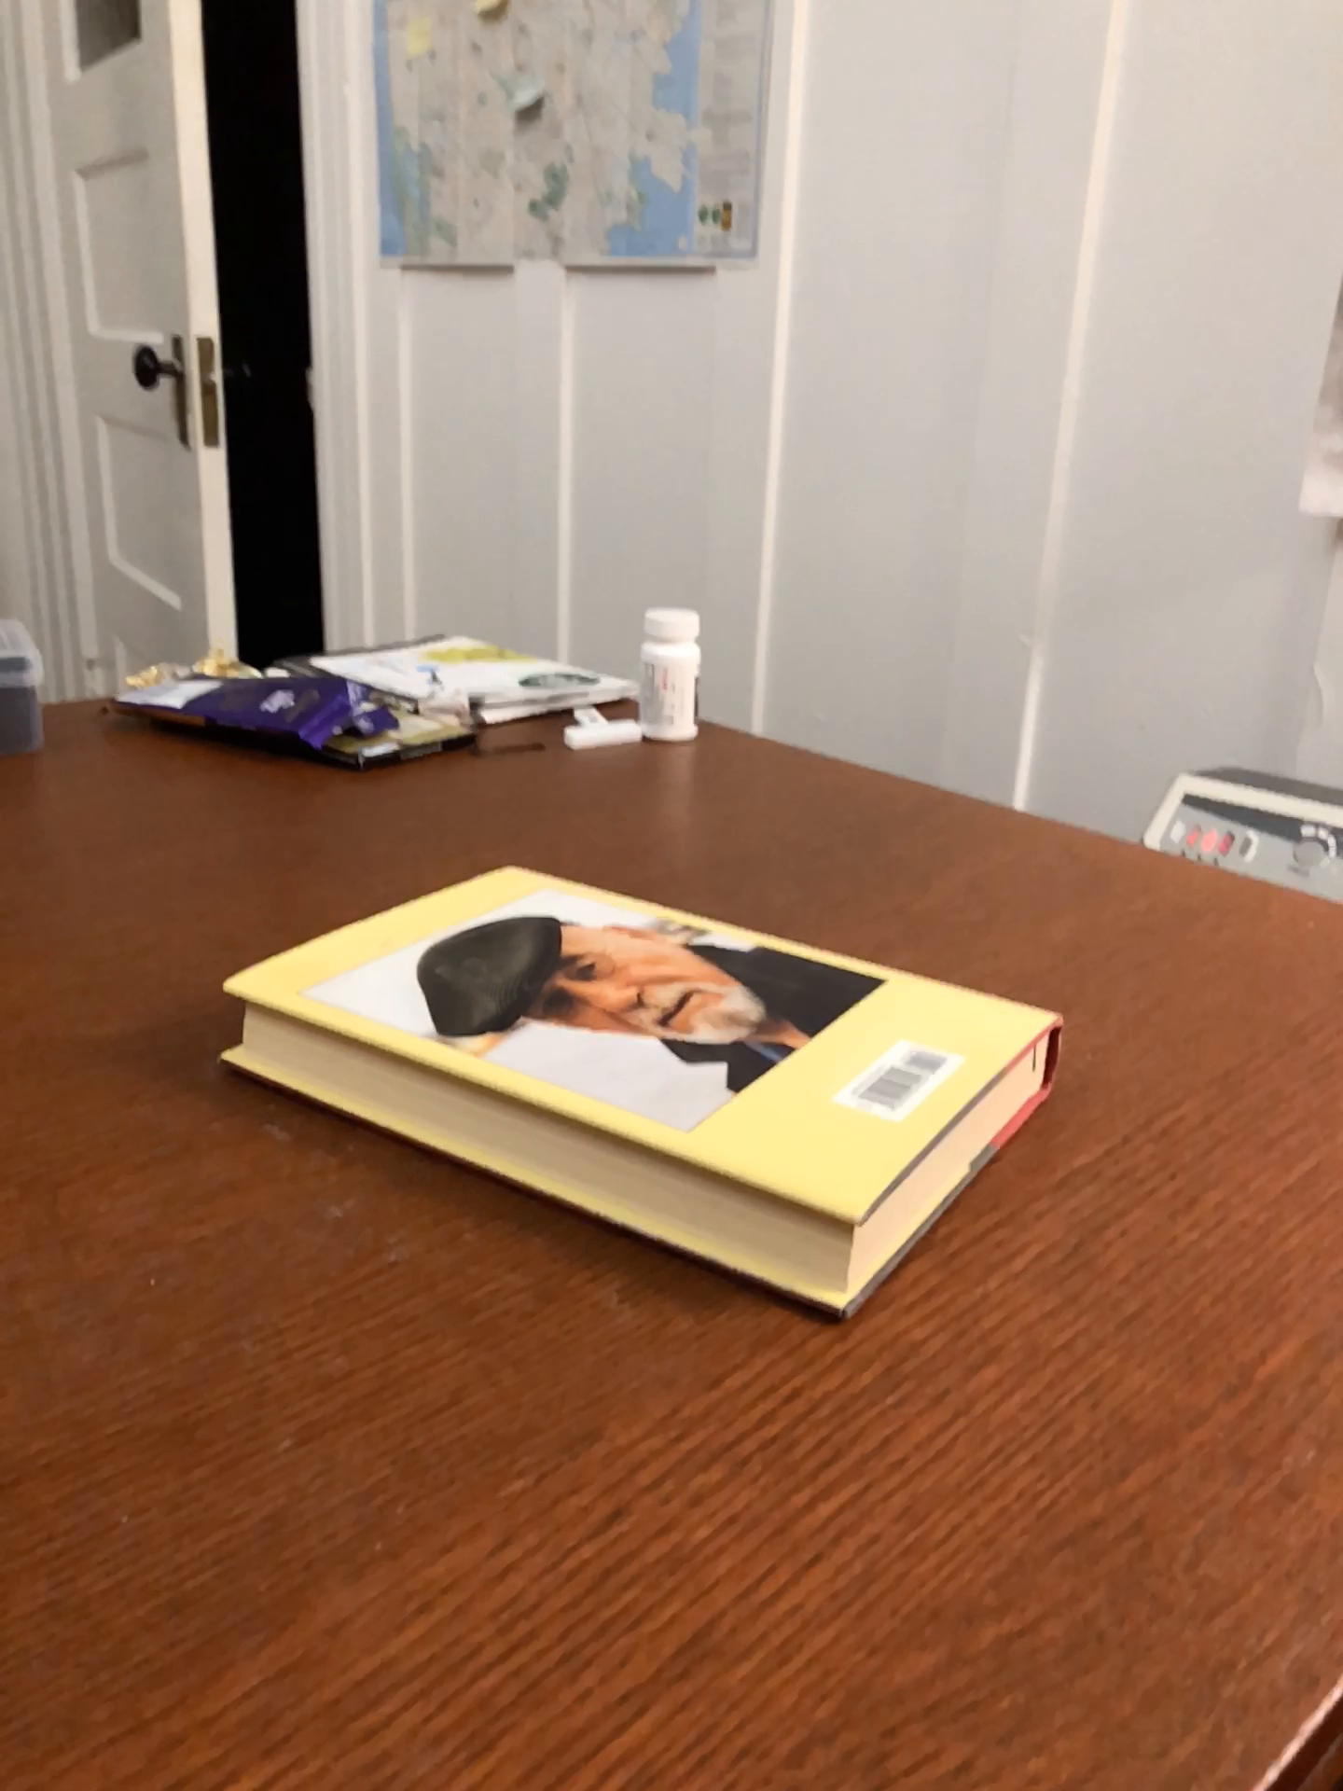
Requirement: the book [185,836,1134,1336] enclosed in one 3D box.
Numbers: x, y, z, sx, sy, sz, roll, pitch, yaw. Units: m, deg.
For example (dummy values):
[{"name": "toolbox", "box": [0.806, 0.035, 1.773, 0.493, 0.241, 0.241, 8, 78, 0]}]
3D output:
[{"name": "book", "box": [0.000, 0.041, 0.493, 0.250, 0.030, 0.191, 14, 23, 30]}]
